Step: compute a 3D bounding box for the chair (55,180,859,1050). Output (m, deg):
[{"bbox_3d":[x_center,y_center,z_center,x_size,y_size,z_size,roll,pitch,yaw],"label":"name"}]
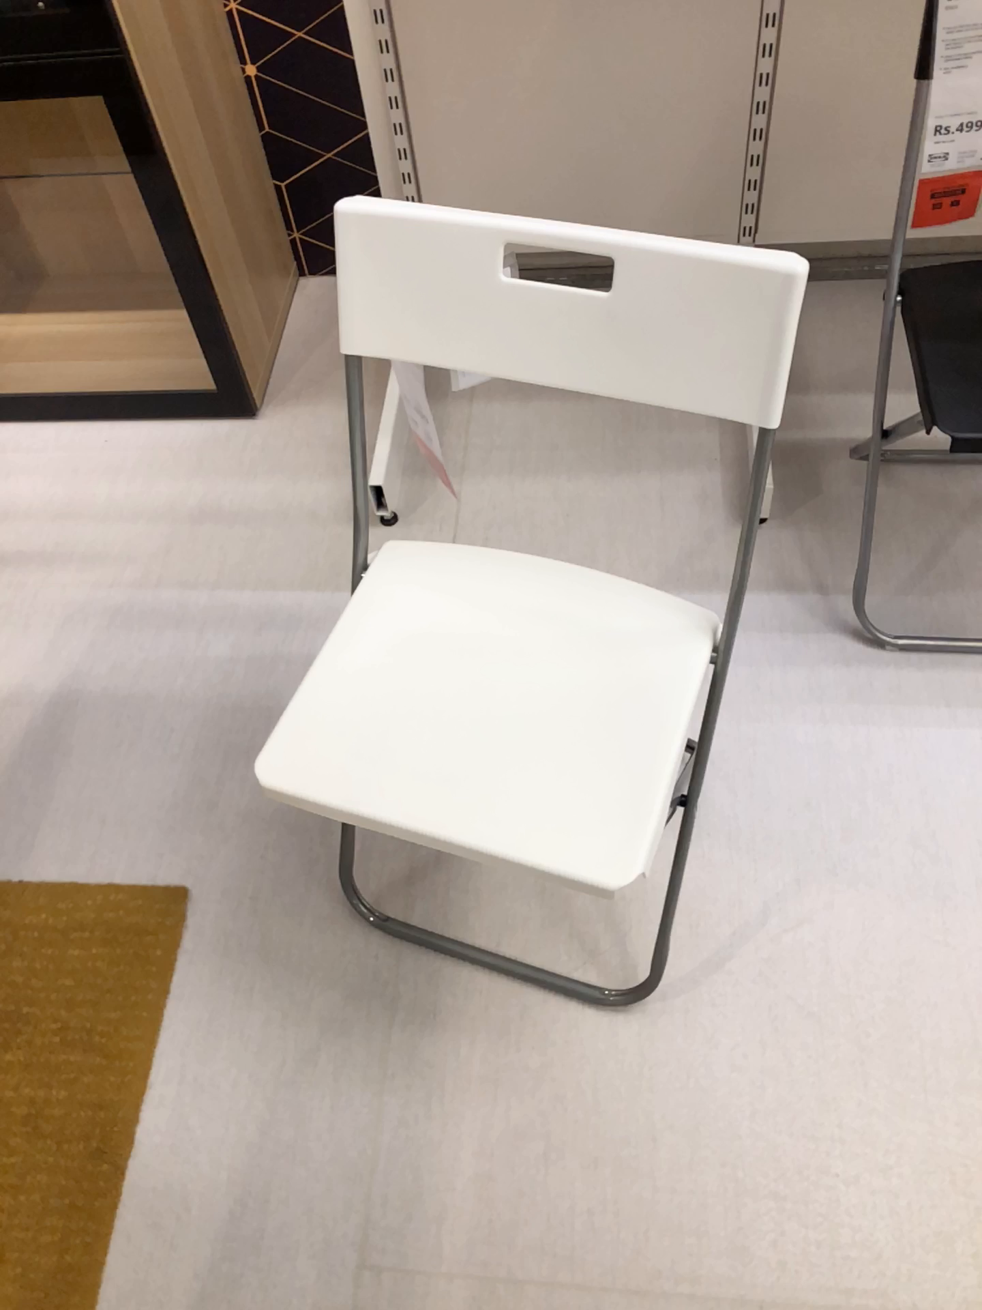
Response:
[{"bbox_3d":[0.027,0.013,1.050,0.451,0.726,0.402,14,58,16],"label":"chair"}]
